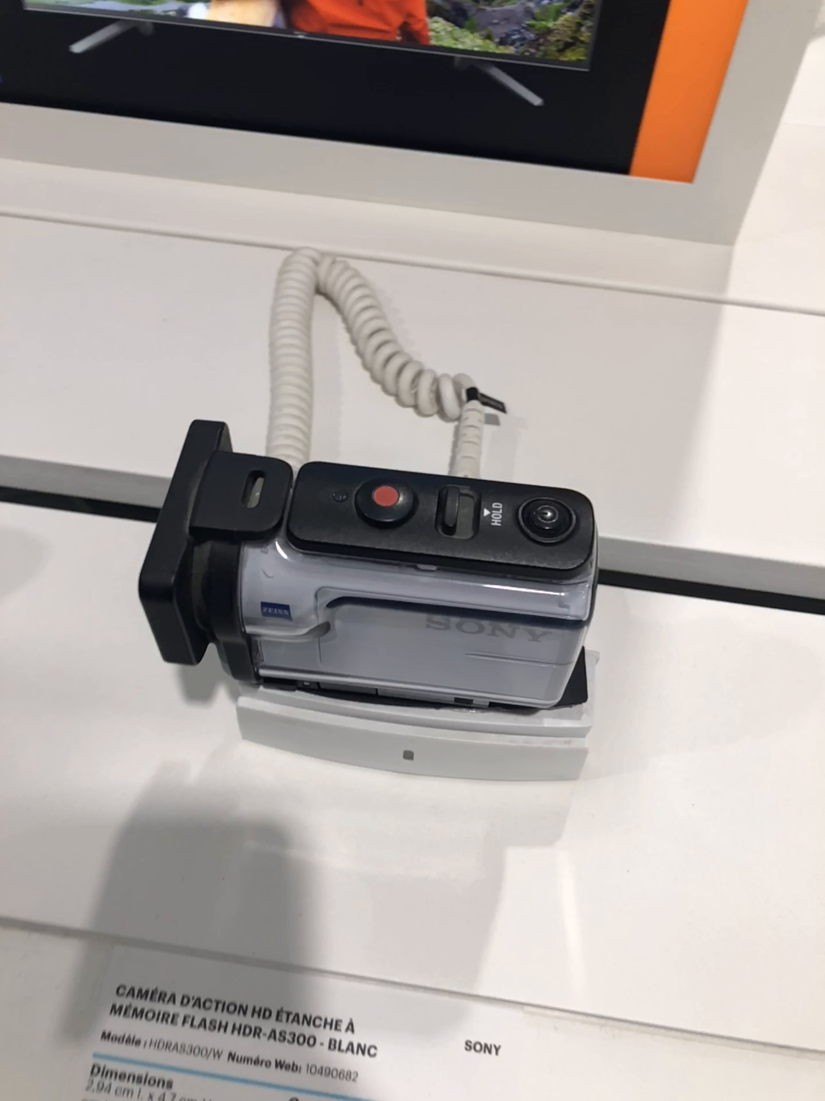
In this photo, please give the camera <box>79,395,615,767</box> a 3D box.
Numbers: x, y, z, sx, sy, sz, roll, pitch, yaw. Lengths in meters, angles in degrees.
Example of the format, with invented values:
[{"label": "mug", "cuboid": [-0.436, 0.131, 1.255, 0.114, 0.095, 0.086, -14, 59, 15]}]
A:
[{"label": "camera", "cuboid": [-0.010, 0.006, 0.190, 0.093, 0.044, 0.049, 7, 52, 3]}]
